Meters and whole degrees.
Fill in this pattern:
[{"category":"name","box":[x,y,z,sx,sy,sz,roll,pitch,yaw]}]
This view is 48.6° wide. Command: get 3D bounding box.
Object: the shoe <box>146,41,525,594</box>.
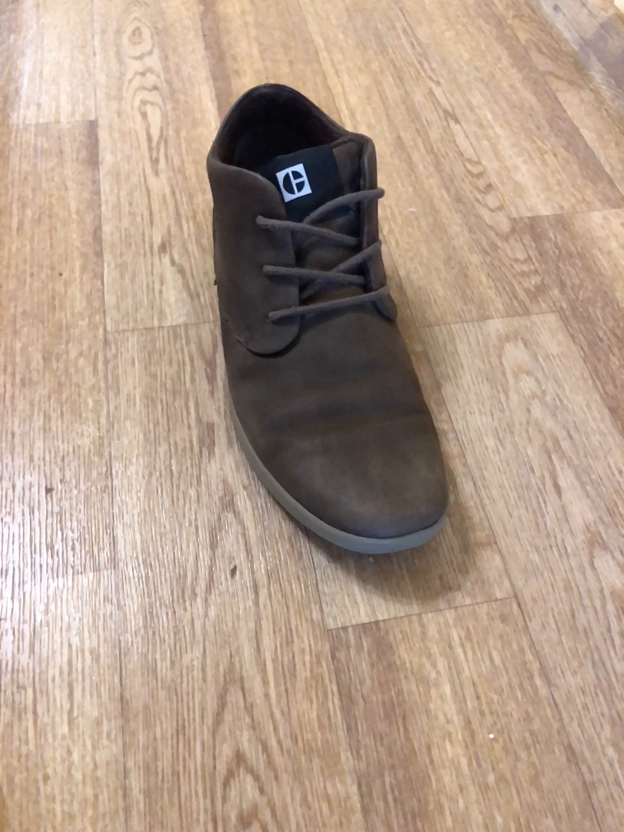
[{"category":"shoe","box":[-0.009,-0.066,0.359,0.100,0.110,0.271,-11,57,-11]}]
